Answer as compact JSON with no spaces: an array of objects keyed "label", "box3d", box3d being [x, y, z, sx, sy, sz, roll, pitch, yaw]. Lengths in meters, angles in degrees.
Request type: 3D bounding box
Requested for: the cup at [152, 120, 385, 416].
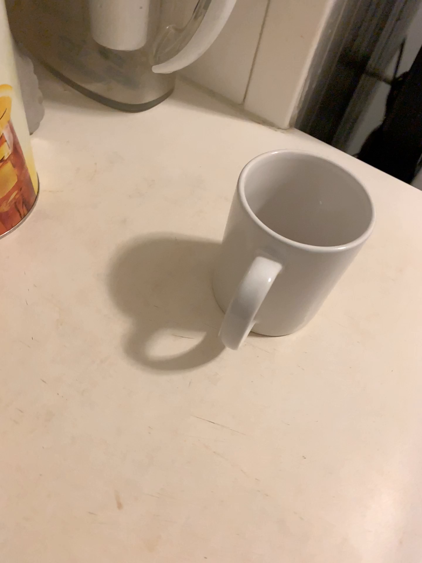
[{"label":"cup","box3d":[0.037,-0.010,0.293,0.090,0.110,0.141,25,53,7]}]
